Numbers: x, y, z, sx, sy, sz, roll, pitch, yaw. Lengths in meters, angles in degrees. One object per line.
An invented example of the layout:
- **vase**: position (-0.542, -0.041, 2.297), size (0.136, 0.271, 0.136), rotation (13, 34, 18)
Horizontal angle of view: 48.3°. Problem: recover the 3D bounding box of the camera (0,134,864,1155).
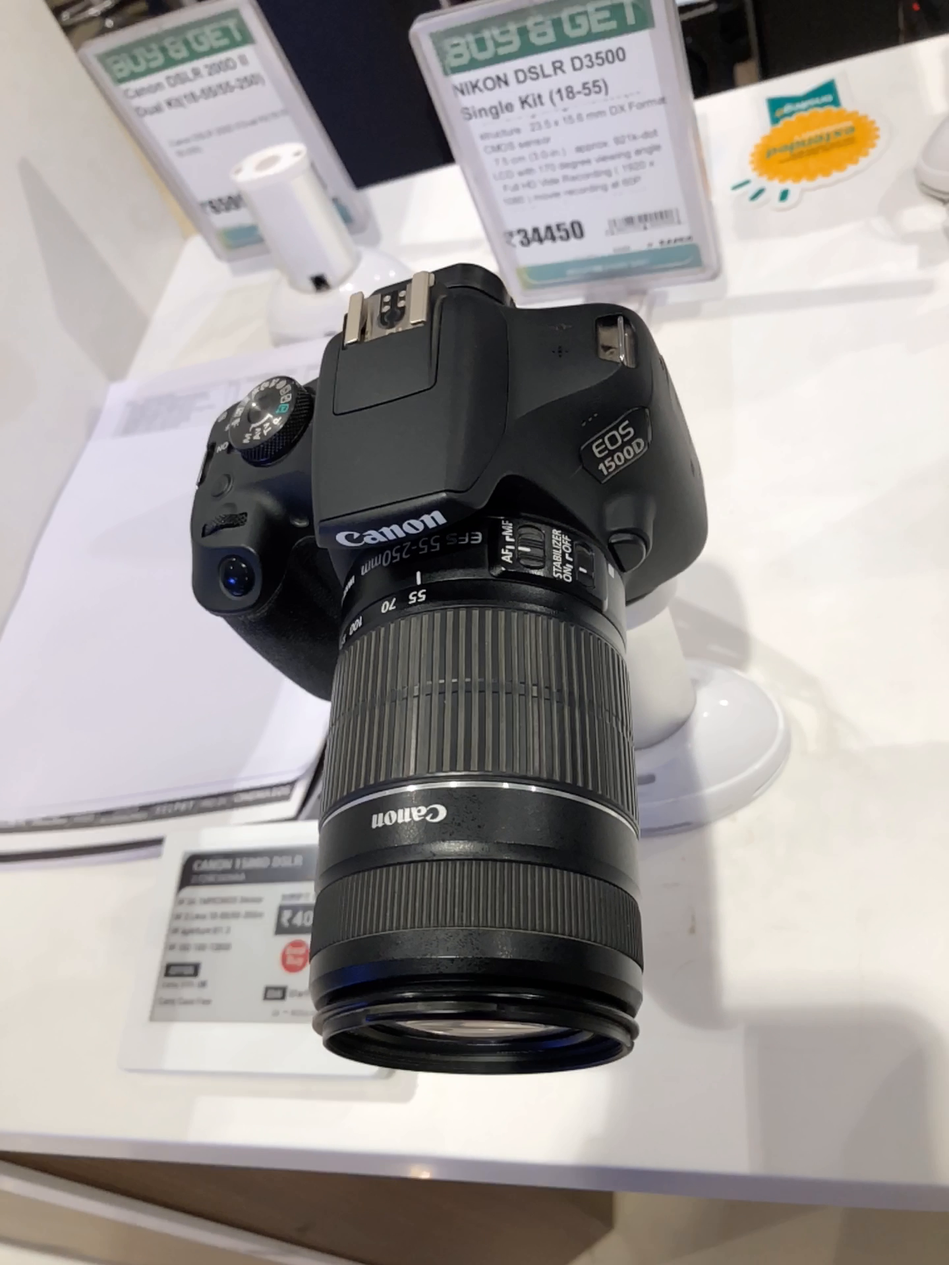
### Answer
- **camera**: position (-0.006, -0.001, 0.247), size (0.140, 0.089, 0.201), rotation (-12, 51, 15)
